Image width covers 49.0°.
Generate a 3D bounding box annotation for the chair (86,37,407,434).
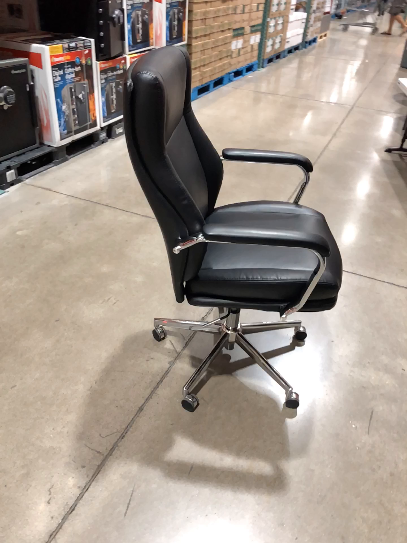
[{"bbox_3d":[0.117,-0.138,1.507,0.700,1.045,0.713,7,34,5],"label":"chair"}]
